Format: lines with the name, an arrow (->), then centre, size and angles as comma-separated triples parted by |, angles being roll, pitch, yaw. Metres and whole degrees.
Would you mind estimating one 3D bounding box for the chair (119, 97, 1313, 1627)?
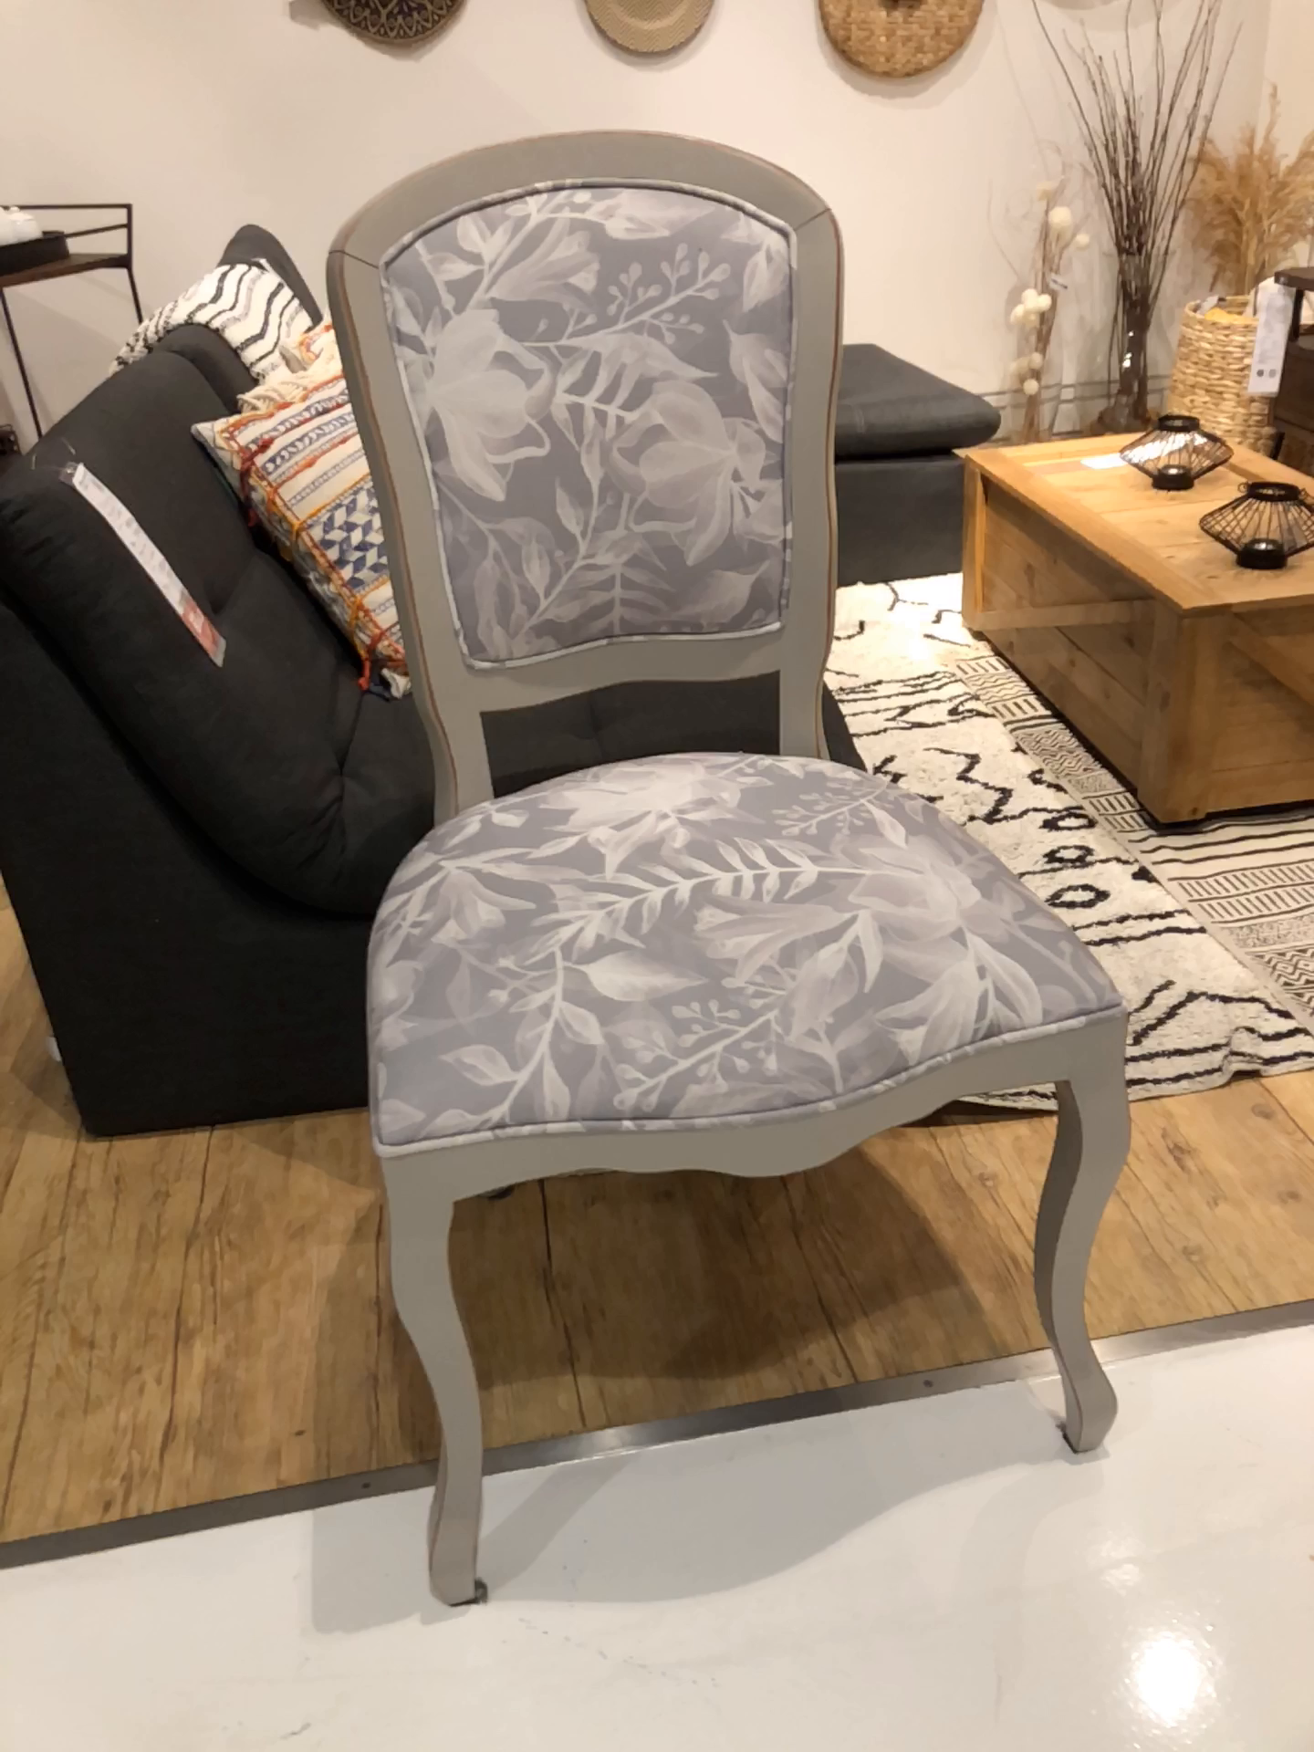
chair -> 0.038, -0.031, 1.093 | 0.570, 0.943, 0.534 | -9, 29, -7
